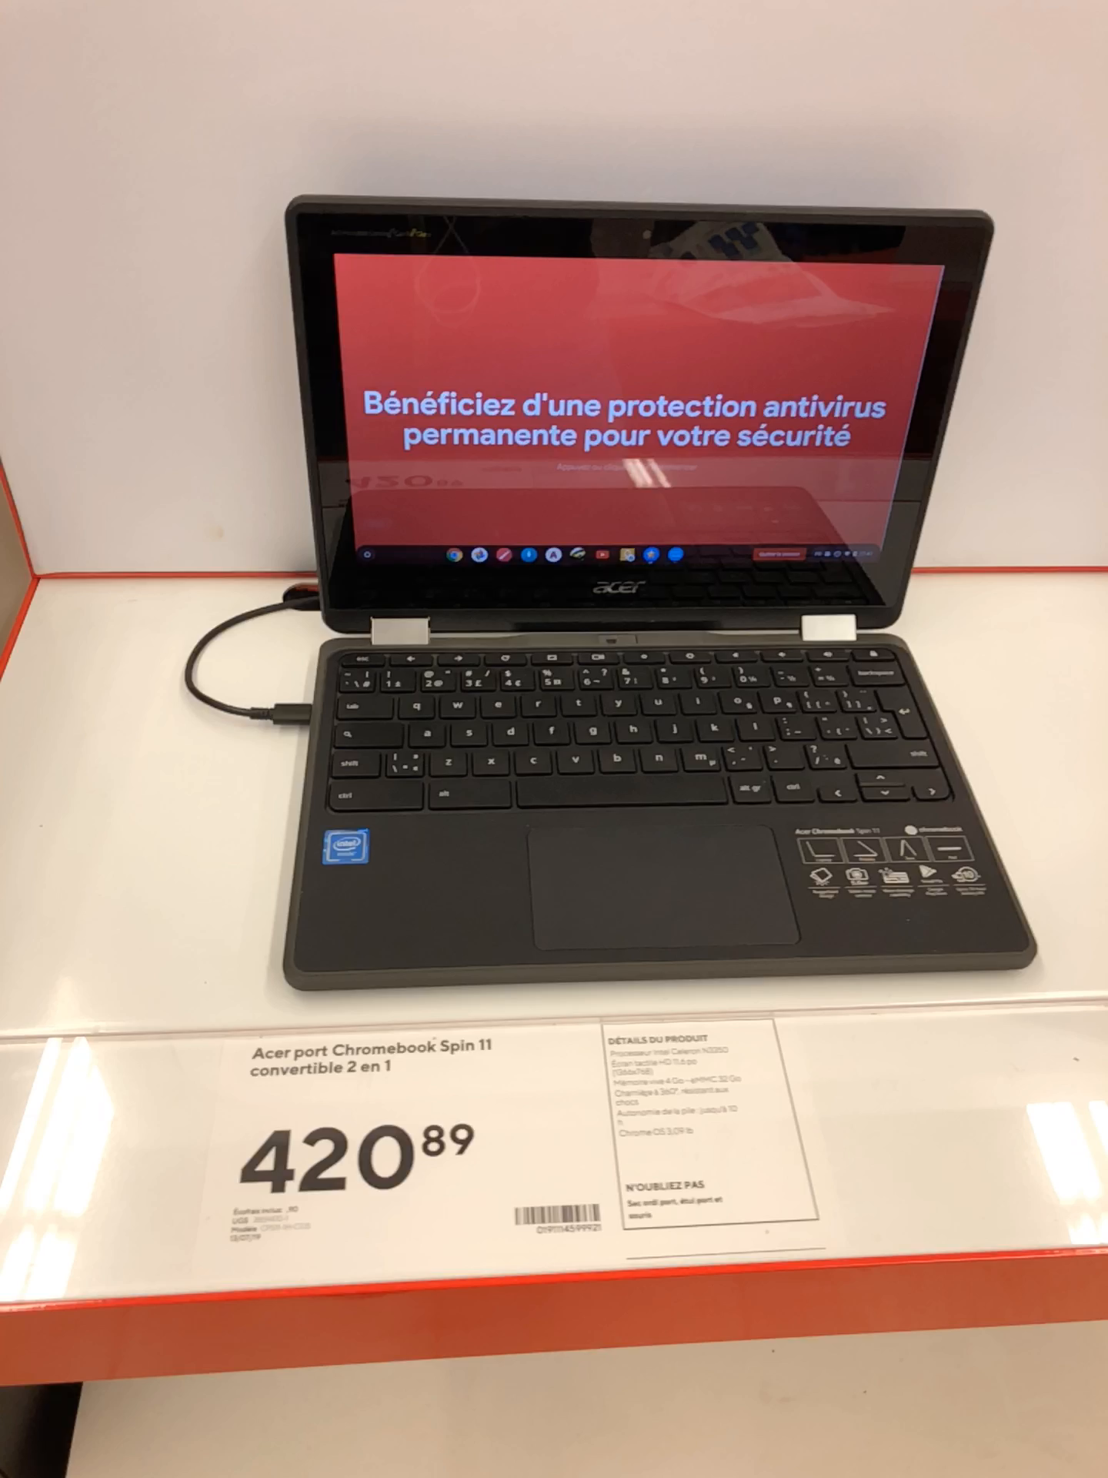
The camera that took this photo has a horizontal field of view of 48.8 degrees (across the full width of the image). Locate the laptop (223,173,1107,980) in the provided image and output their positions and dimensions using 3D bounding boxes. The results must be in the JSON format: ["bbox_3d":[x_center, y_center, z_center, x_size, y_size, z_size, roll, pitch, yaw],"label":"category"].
[{"bbox_3d":[0.038,-0.073,0.499,0.289,0.198,0.253,-1,46,-5],"label":"laptop"}]
